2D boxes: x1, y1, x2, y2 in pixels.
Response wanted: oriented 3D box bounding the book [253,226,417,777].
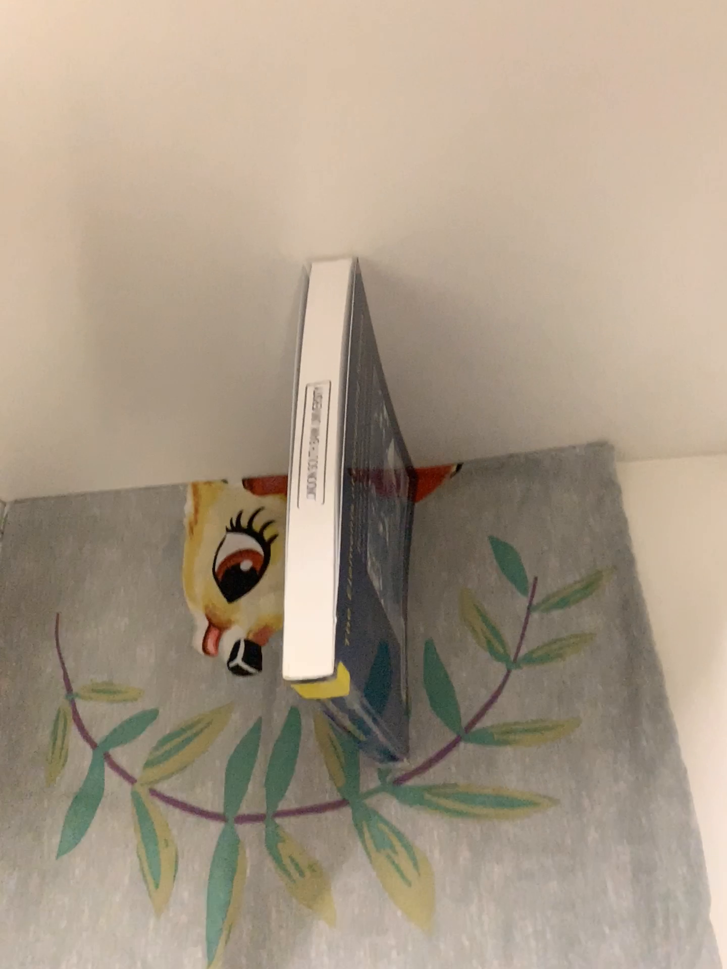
[{"bbox_3d":[0.000,0.029,0.416,0.030,0.238,0.222,-4,61,10],"label":"book"}]
